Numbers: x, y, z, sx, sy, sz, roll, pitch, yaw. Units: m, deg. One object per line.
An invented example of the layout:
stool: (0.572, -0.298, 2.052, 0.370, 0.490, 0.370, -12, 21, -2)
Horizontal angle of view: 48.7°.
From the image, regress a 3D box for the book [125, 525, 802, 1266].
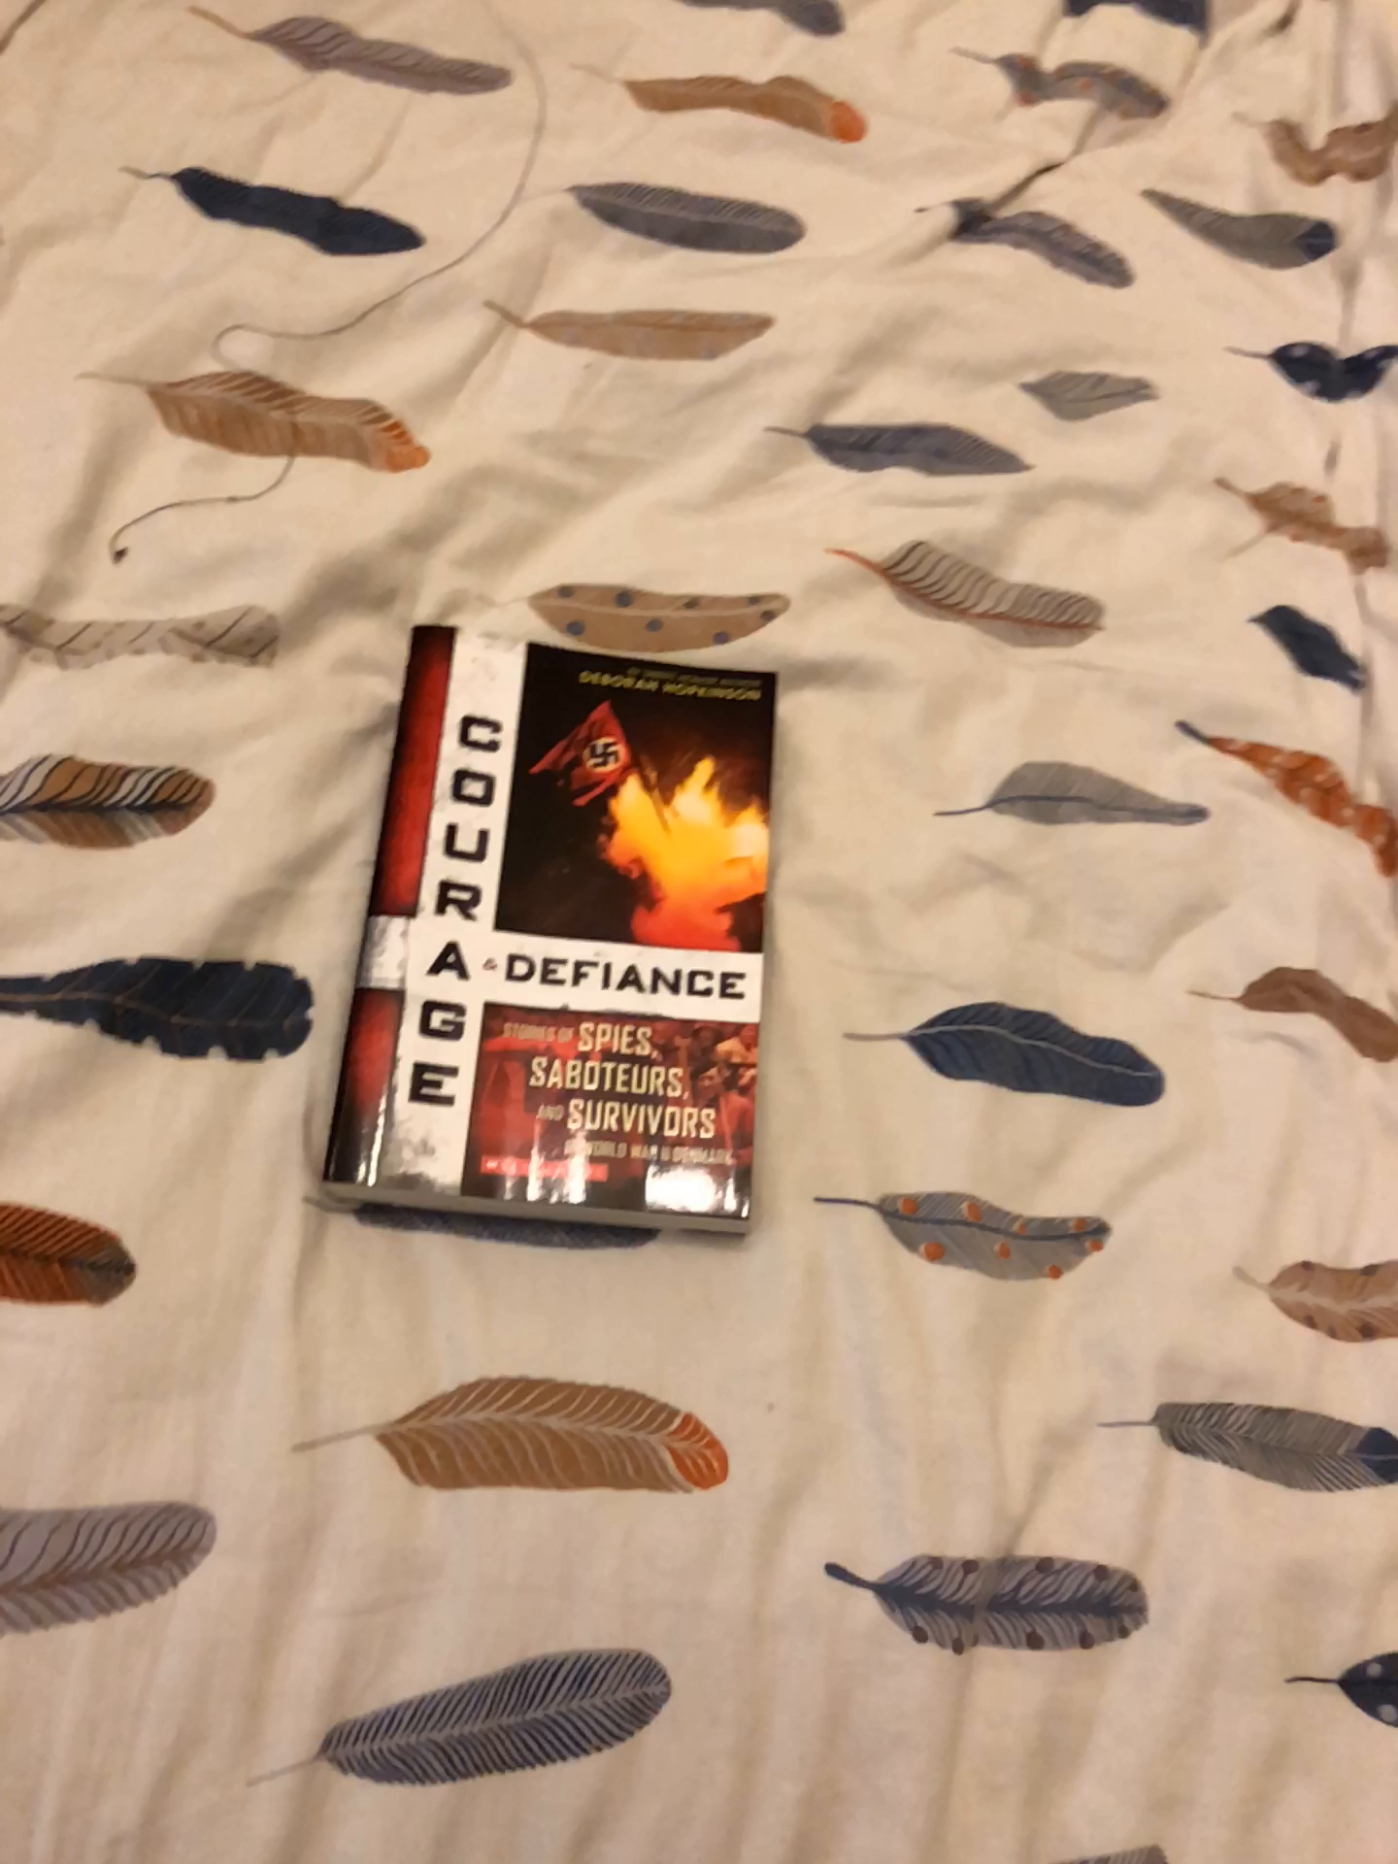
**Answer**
book: (-0.065, -0.014, 0.512, 0.200, 0.020, 0.230, 7, 69, -13)
